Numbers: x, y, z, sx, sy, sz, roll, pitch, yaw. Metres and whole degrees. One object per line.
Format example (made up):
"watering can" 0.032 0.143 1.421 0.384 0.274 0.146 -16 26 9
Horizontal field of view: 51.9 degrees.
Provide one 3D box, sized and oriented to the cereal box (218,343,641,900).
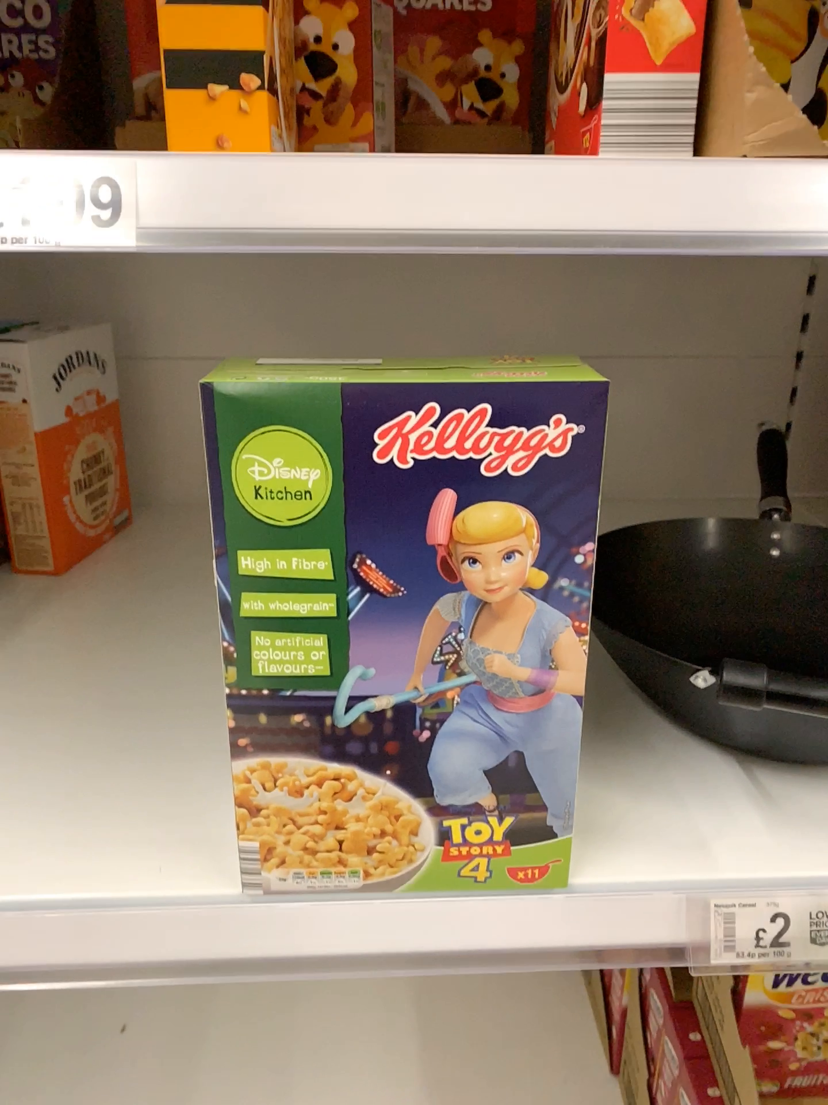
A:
"cereal box" 0.006 0.042 0.470 0.190 0.298 0.081 0 20 -1
